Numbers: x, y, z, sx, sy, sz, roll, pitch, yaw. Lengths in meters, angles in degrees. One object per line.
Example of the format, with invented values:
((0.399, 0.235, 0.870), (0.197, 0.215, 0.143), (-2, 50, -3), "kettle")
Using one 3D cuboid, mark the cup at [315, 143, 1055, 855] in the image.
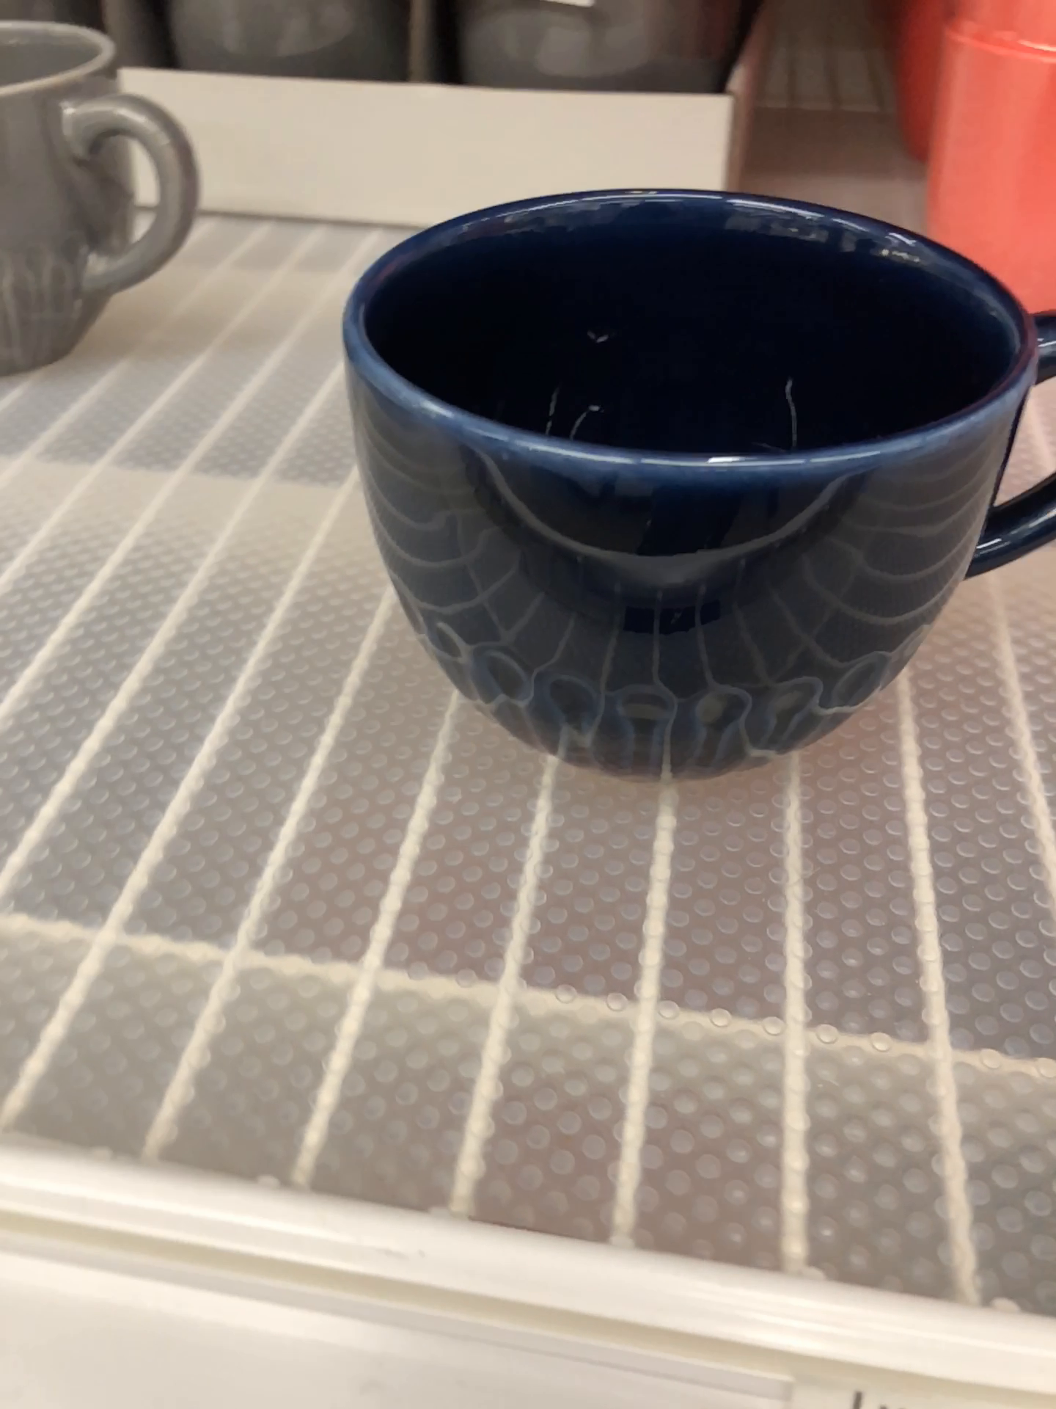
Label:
((0.036, -0.044, 0.199), (0.130, 0.060, 0.110), (-6, 40, -8), "cup")
